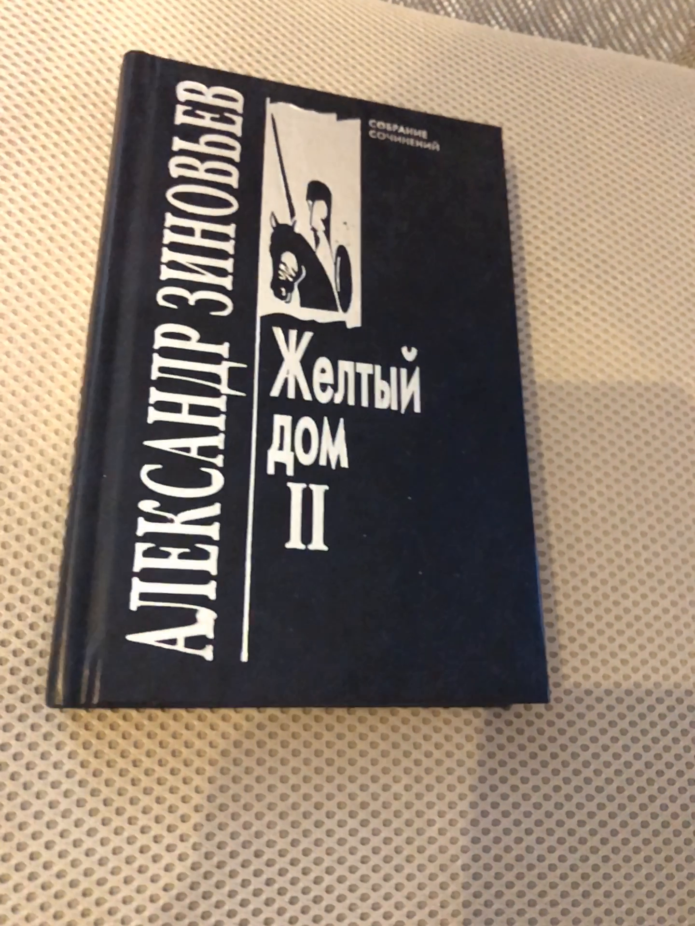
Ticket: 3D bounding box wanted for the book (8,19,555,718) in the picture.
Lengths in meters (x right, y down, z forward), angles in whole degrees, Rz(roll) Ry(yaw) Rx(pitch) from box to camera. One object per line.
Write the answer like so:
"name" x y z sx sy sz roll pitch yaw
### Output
"book" -0.015 -0.031 0.244 0.140 0.030 0.211 5 71 -15
